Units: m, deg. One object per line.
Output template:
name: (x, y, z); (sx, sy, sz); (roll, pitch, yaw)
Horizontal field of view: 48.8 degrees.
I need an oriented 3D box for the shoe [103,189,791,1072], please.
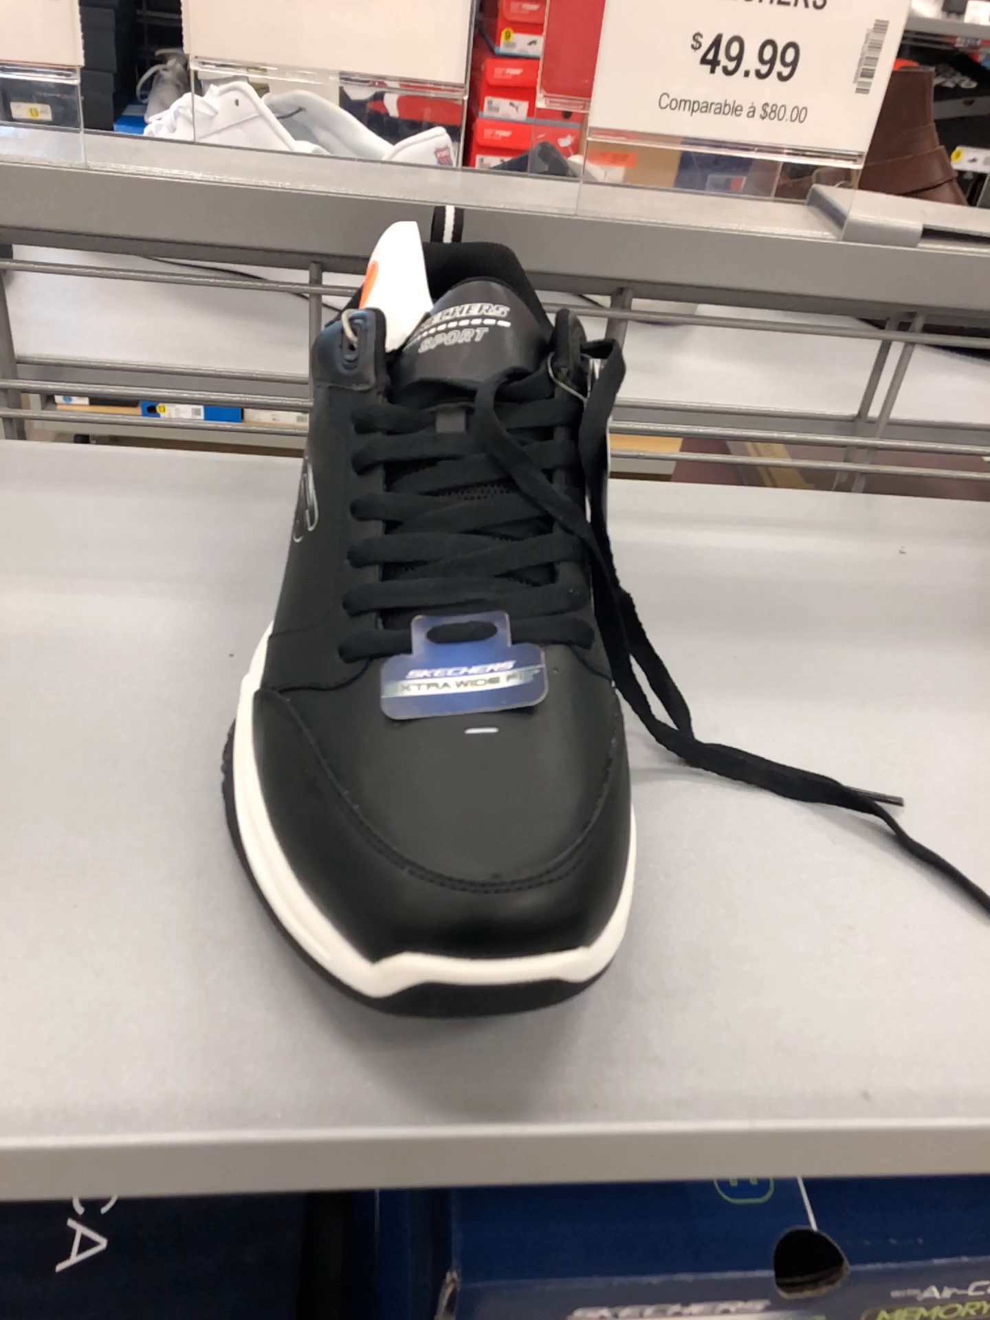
shoe: (-0.025, -0.049, 0.377); (0.130, 0.109, 0.353); (3, 38, -7)
